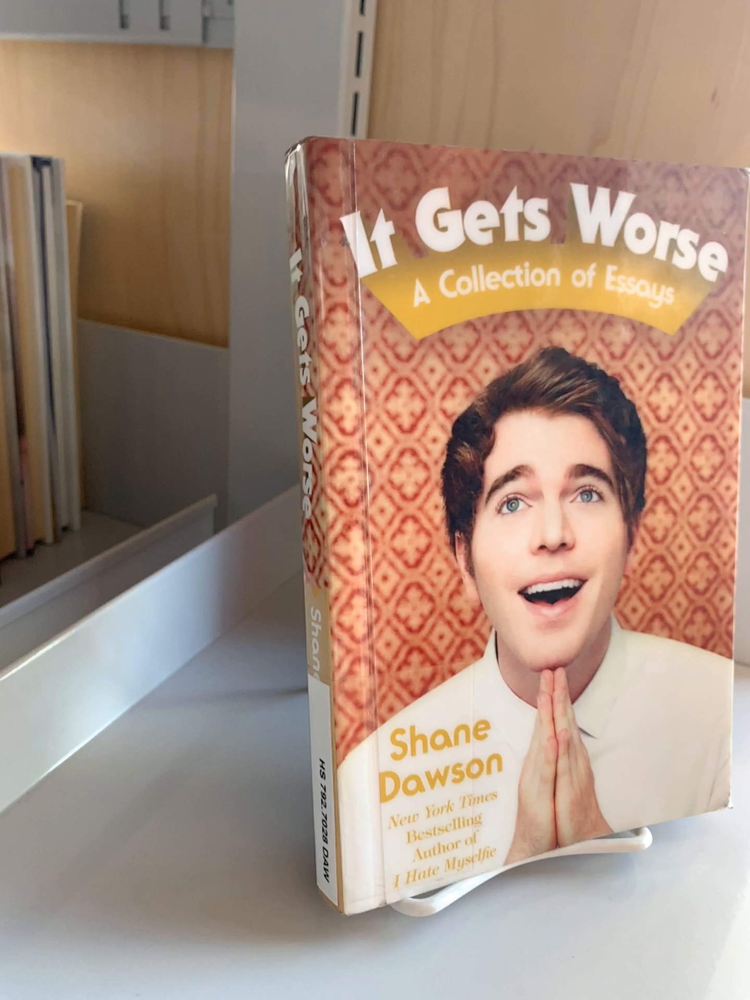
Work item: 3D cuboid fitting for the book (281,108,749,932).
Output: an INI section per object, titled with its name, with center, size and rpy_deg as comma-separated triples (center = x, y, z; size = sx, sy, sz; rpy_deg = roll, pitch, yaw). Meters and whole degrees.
[book]
center = 0.050, 0.005, 0.240
size = 0.149, 0.210, 0.030
rpy_deg = -5, 9, -23
